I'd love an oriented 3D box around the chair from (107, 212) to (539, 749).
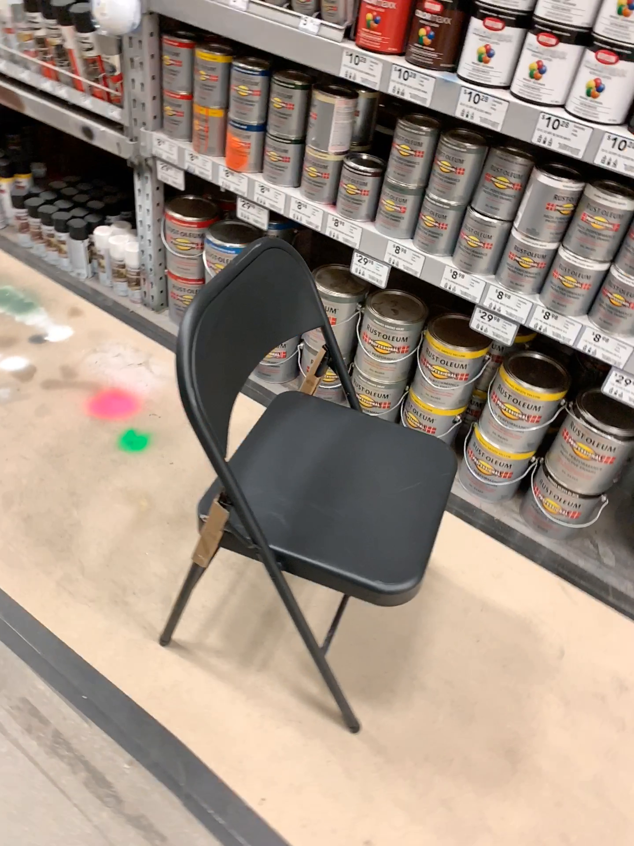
[{"bbox_3d":[0.002,0.111,1.143,0.474,0.714,0.453,21,43,12],"label":"chair"}]
